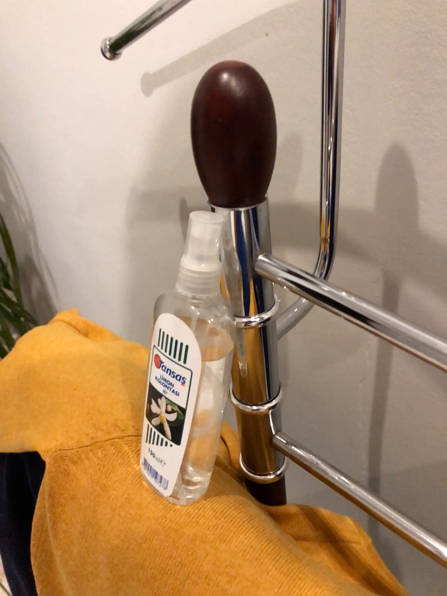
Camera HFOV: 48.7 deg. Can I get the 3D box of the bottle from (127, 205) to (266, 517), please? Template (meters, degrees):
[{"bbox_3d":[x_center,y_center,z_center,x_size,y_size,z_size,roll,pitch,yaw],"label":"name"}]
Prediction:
[{"bbox_3d":[-0.020,0.034,0.267,0.030,0.158,0.051,-9,27,-41],"label":"bottle"}]
